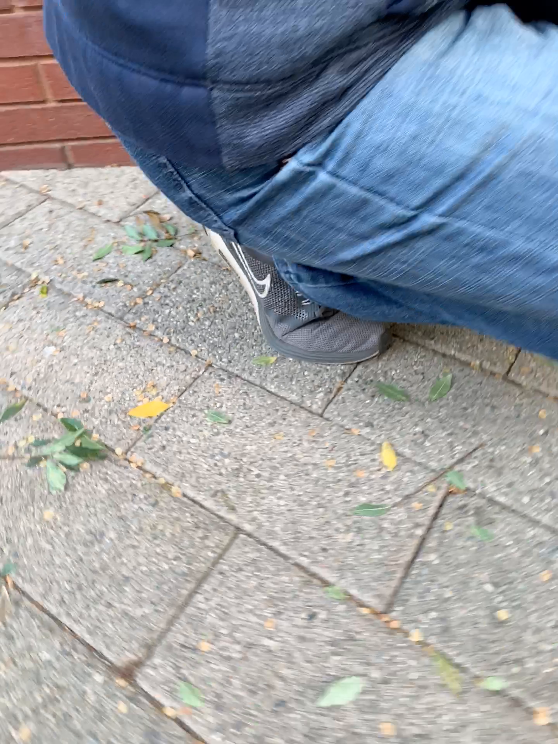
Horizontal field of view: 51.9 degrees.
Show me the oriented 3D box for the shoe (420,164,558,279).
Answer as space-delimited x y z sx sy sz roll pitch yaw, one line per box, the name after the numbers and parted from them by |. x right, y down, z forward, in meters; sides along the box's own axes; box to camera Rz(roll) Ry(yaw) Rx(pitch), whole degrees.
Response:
0.350 -0.207 0.787 0.279 0.083 0.111 -5 47 0 | shoe

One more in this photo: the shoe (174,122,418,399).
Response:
0.023 -0.115 0.651 0.116 0.274 0.098 -42 16 -27 | shoe
